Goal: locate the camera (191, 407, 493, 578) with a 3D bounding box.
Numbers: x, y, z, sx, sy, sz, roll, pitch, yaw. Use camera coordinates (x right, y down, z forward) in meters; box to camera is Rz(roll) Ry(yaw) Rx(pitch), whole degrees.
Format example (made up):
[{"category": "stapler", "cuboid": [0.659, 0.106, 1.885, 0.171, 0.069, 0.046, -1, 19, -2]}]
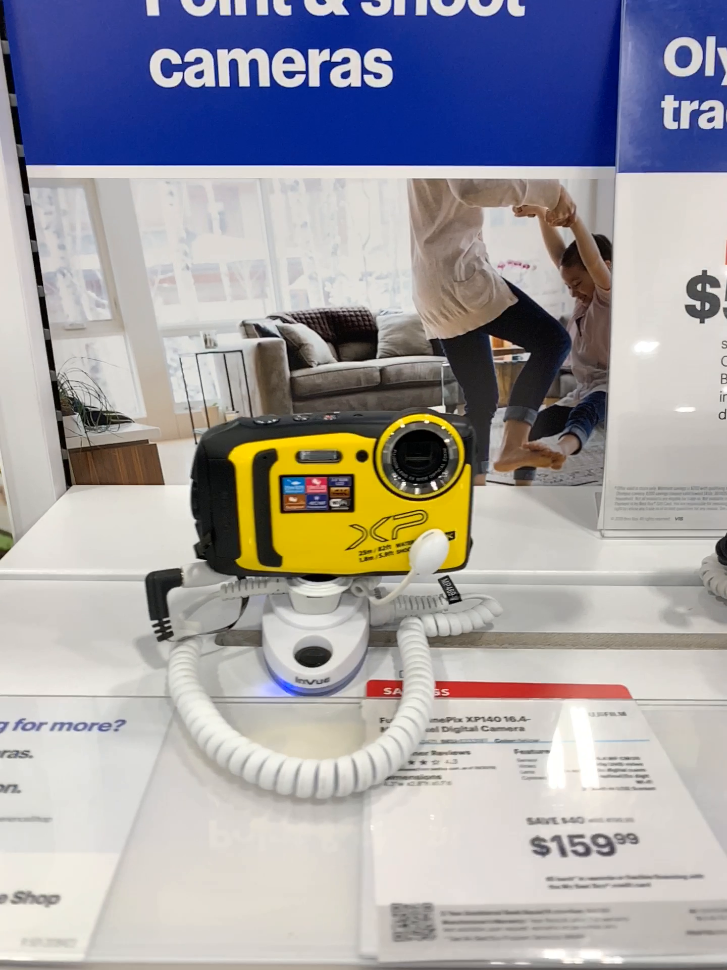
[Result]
[{"category": "camera", "cuboid": [-0.008, 0.002, 0.298, 0.110, 0.060, 0.030, -1, 20, -1]}]
